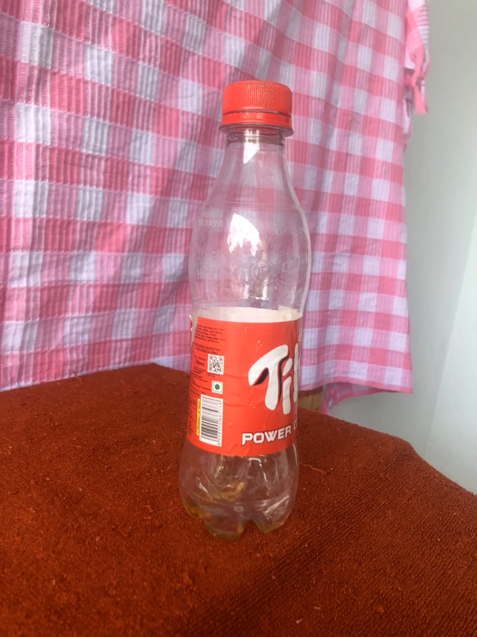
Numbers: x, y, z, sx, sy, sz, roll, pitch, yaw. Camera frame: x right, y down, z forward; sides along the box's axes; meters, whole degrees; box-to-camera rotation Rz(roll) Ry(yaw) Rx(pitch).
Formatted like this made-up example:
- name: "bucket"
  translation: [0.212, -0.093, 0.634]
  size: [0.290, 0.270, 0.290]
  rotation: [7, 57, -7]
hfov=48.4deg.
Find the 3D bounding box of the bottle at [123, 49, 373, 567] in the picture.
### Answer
- name: "bottle"
  translation: [0.003, -0.005, 0.231]
  size: [0.060, 0.190, 0.060]
  rotation: [8, 9, -1]
